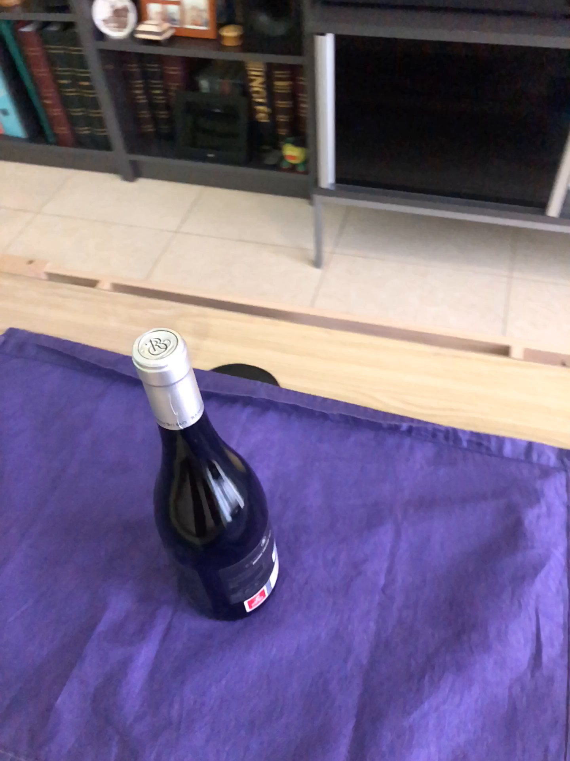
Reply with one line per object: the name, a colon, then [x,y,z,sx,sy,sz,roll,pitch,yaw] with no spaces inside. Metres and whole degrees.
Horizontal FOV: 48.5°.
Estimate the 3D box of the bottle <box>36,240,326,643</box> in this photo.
bottle: [-0.045,0.059,0.421,0.100,0.269,0.100,-3,50,3]
